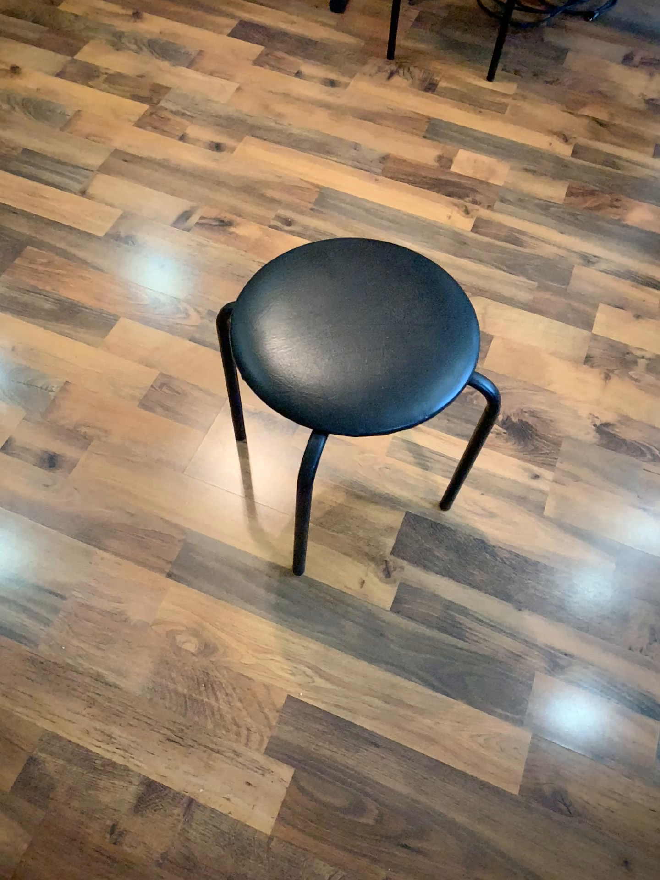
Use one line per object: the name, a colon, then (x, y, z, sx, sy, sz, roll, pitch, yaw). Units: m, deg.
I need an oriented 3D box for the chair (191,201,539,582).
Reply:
chair: (0.033, -0.057, 1.080, 0.350, 0.427, 0.332, -22, 64, -13)
